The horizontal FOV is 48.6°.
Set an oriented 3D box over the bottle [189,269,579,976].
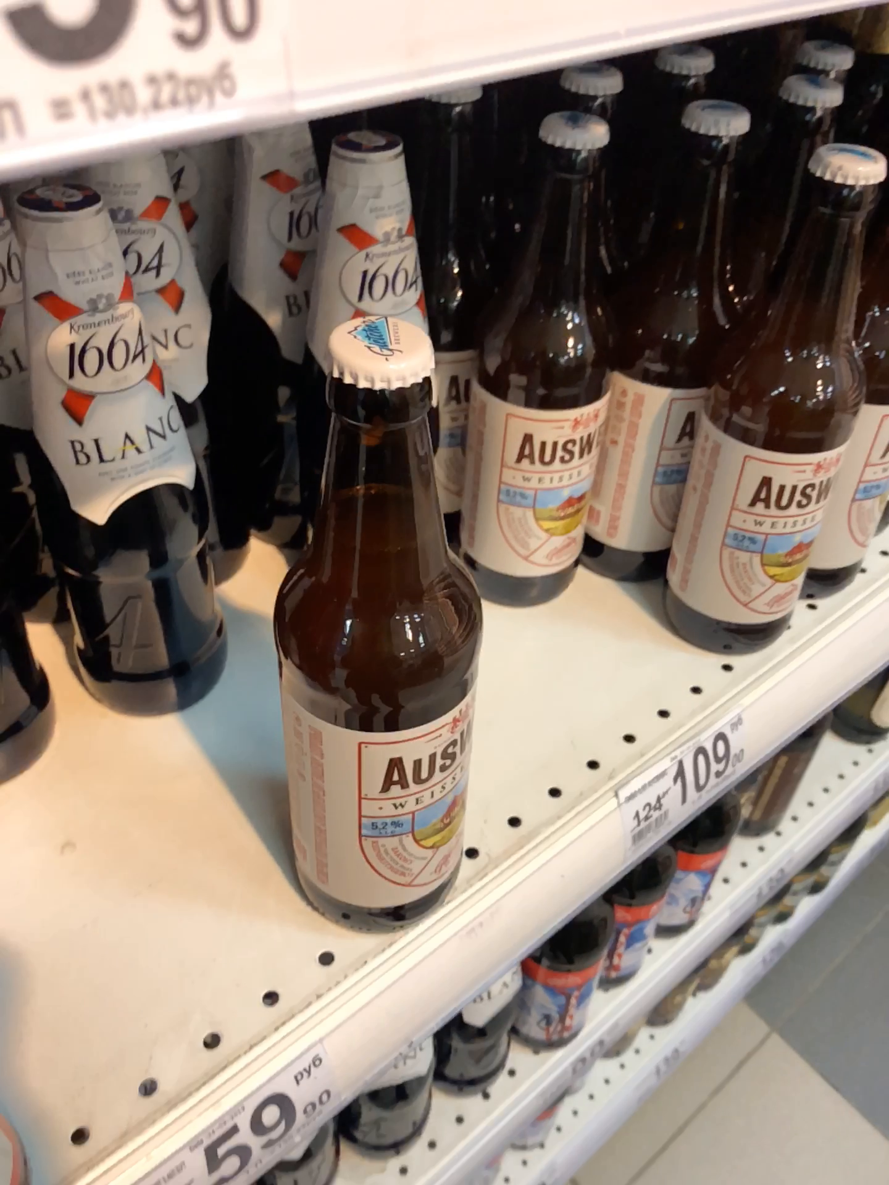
[{"bbox_3d":[-0.018,0.025,0.327,0.070,0.228,0.080,19,45,15],"label":"bottle"}]
